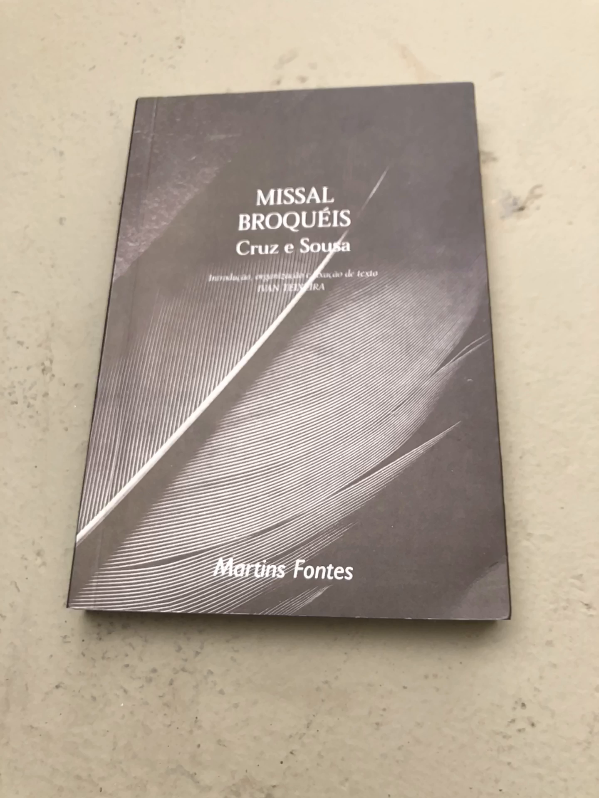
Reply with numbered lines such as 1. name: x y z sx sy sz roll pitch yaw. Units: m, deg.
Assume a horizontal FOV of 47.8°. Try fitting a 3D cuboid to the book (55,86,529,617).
1. book: -0.001 -0.023 0.217 0.128 0.016 0.174 0 71 5
